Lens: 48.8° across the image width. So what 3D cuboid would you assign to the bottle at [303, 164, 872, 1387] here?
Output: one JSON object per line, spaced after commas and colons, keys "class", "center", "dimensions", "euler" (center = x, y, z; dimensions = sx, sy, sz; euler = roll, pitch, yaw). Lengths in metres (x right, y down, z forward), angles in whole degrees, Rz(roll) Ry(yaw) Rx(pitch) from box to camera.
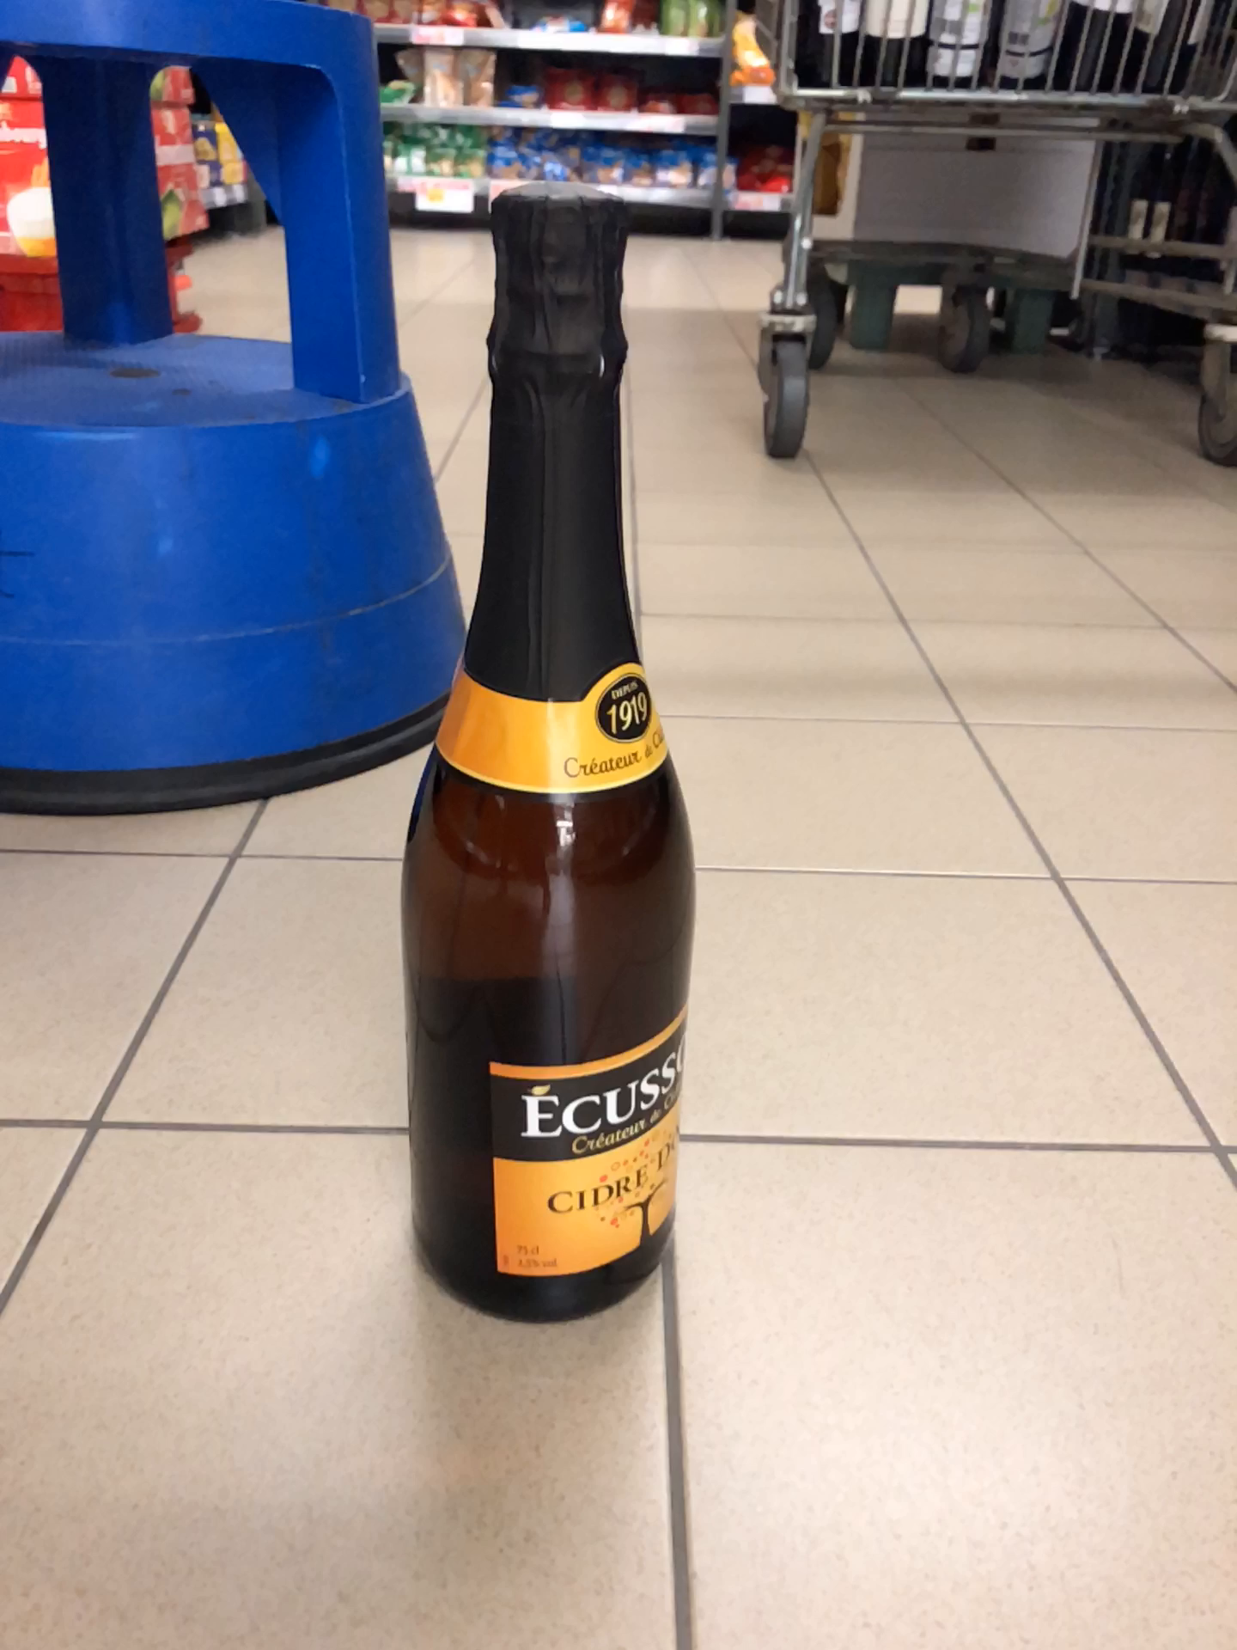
{"class": "bottle", "center": [-0.014, -0.009, 0.365], "dimensions": [0.090, 0.298, 0.090], "euler": [2, 26, -1]}
